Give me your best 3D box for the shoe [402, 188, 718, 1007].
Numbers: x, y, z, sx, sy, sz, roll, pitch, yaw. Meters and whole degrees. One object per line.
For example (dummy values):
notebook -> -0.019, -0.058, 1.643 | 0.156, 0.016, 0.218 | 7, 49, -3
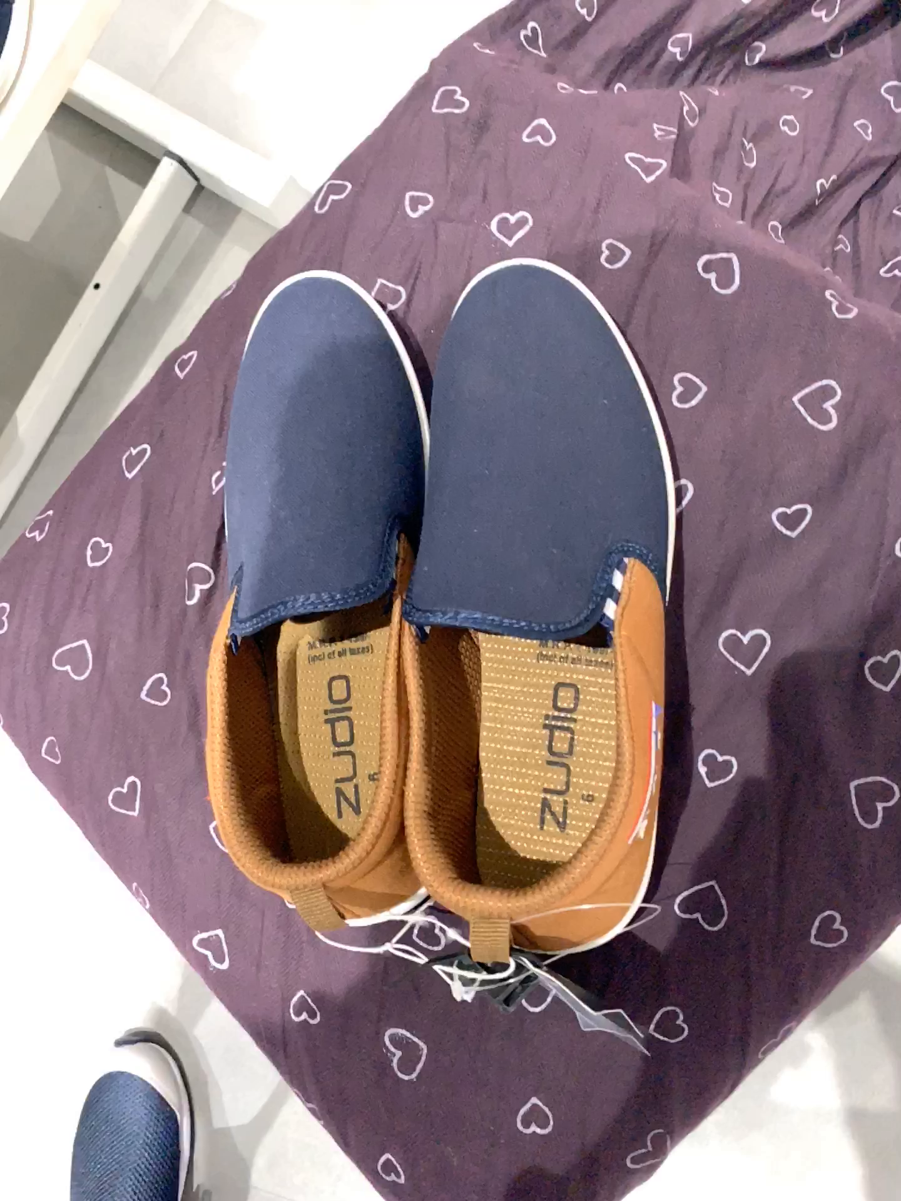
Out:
shoe -> 0.039, -0.003, 0.342 | 0.100, 0.060, 0.270 | -3, 81, 14

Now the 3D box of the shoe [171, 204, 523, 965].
shoe -> -0.042, -0.006, 0.367 | 0.100, 0.060, 0.270 | -9, 80, 13
